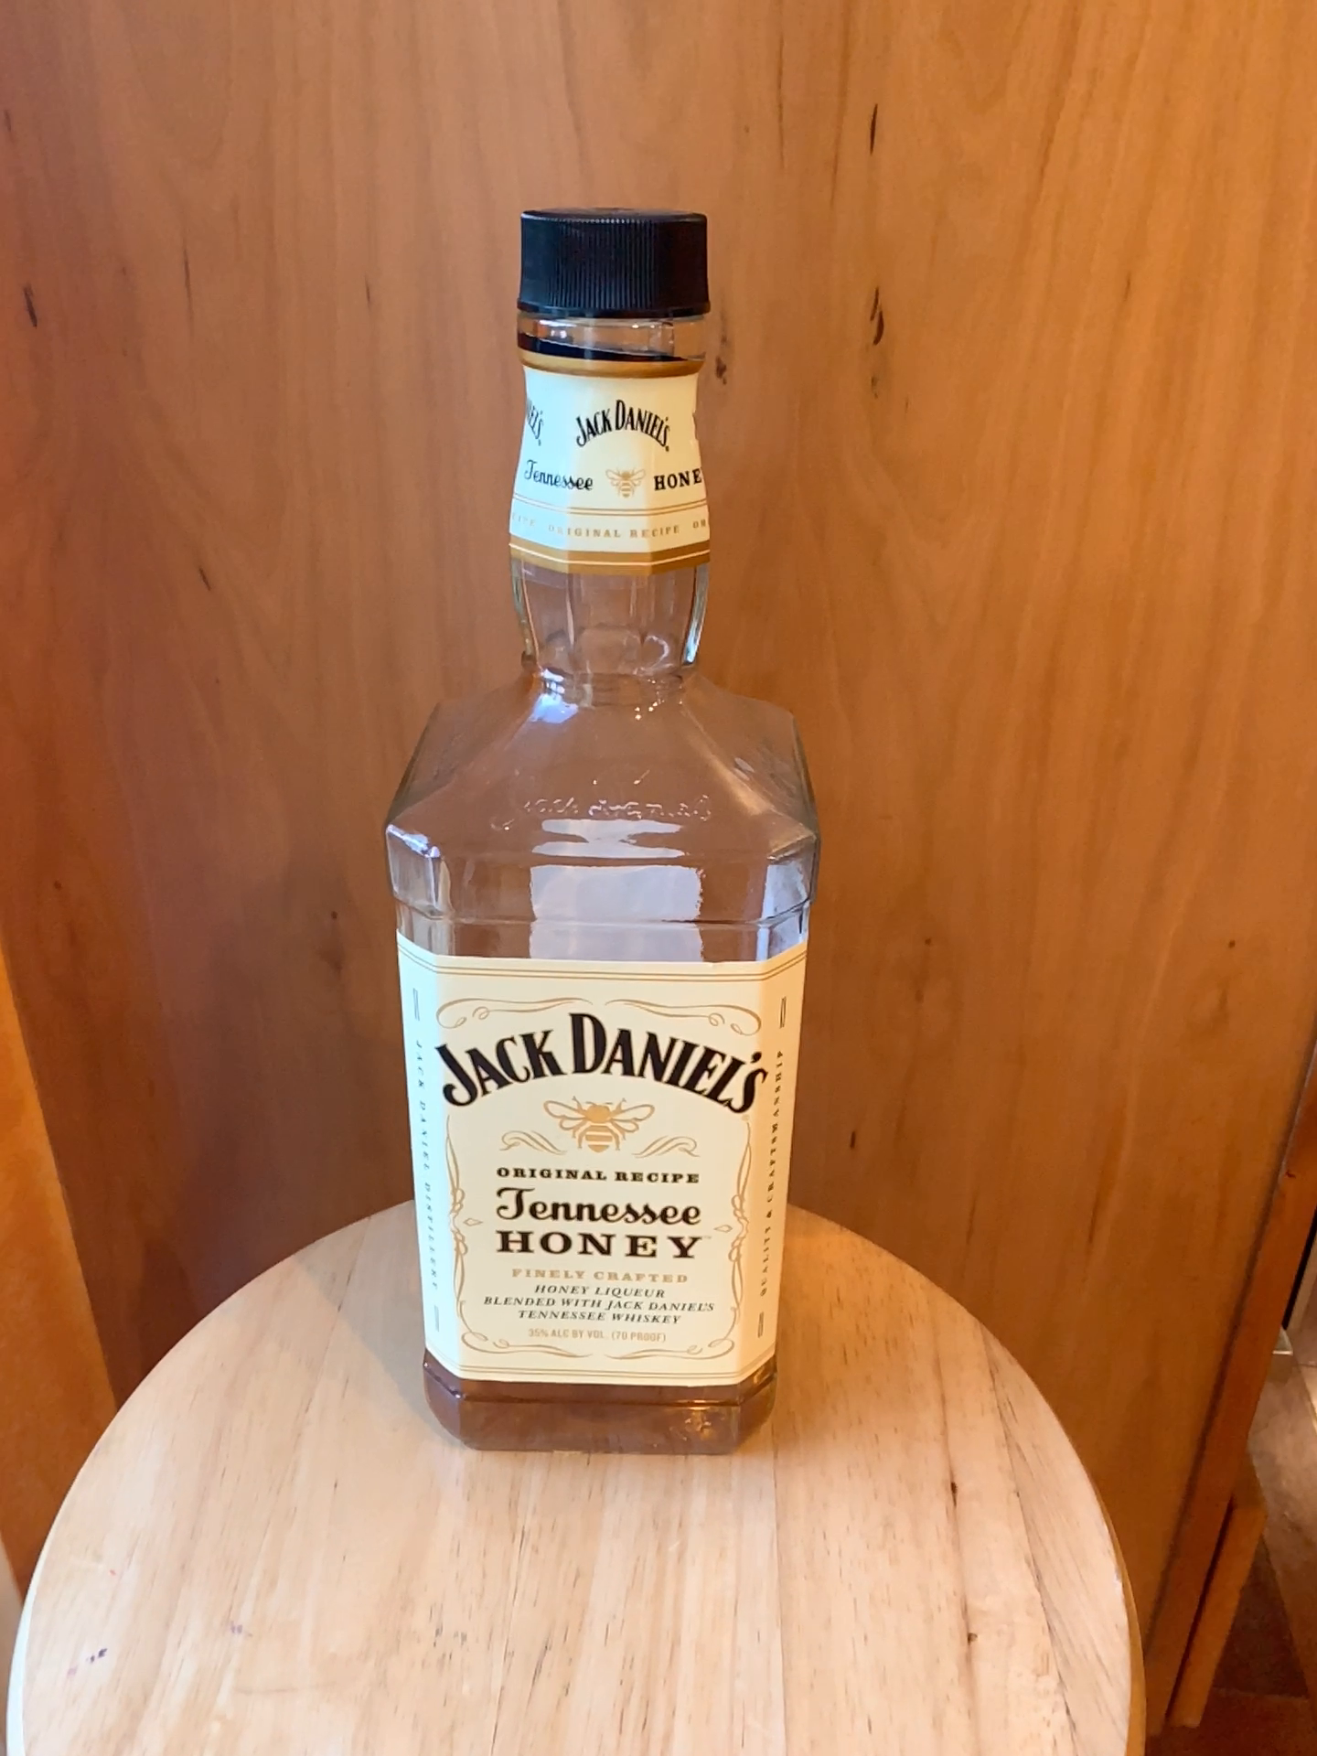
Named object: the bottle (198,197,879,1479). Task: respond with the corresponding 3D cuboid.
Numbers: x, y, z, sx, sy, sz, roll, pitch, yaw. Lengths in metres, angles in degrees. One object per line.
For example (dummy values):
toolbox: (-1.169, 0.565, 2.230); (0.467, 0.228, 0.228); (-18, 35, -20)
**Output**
bottle: (-0.023, 0.005, 0.361); (0.120, 0.328, 0.101); (1, 28, 0)
